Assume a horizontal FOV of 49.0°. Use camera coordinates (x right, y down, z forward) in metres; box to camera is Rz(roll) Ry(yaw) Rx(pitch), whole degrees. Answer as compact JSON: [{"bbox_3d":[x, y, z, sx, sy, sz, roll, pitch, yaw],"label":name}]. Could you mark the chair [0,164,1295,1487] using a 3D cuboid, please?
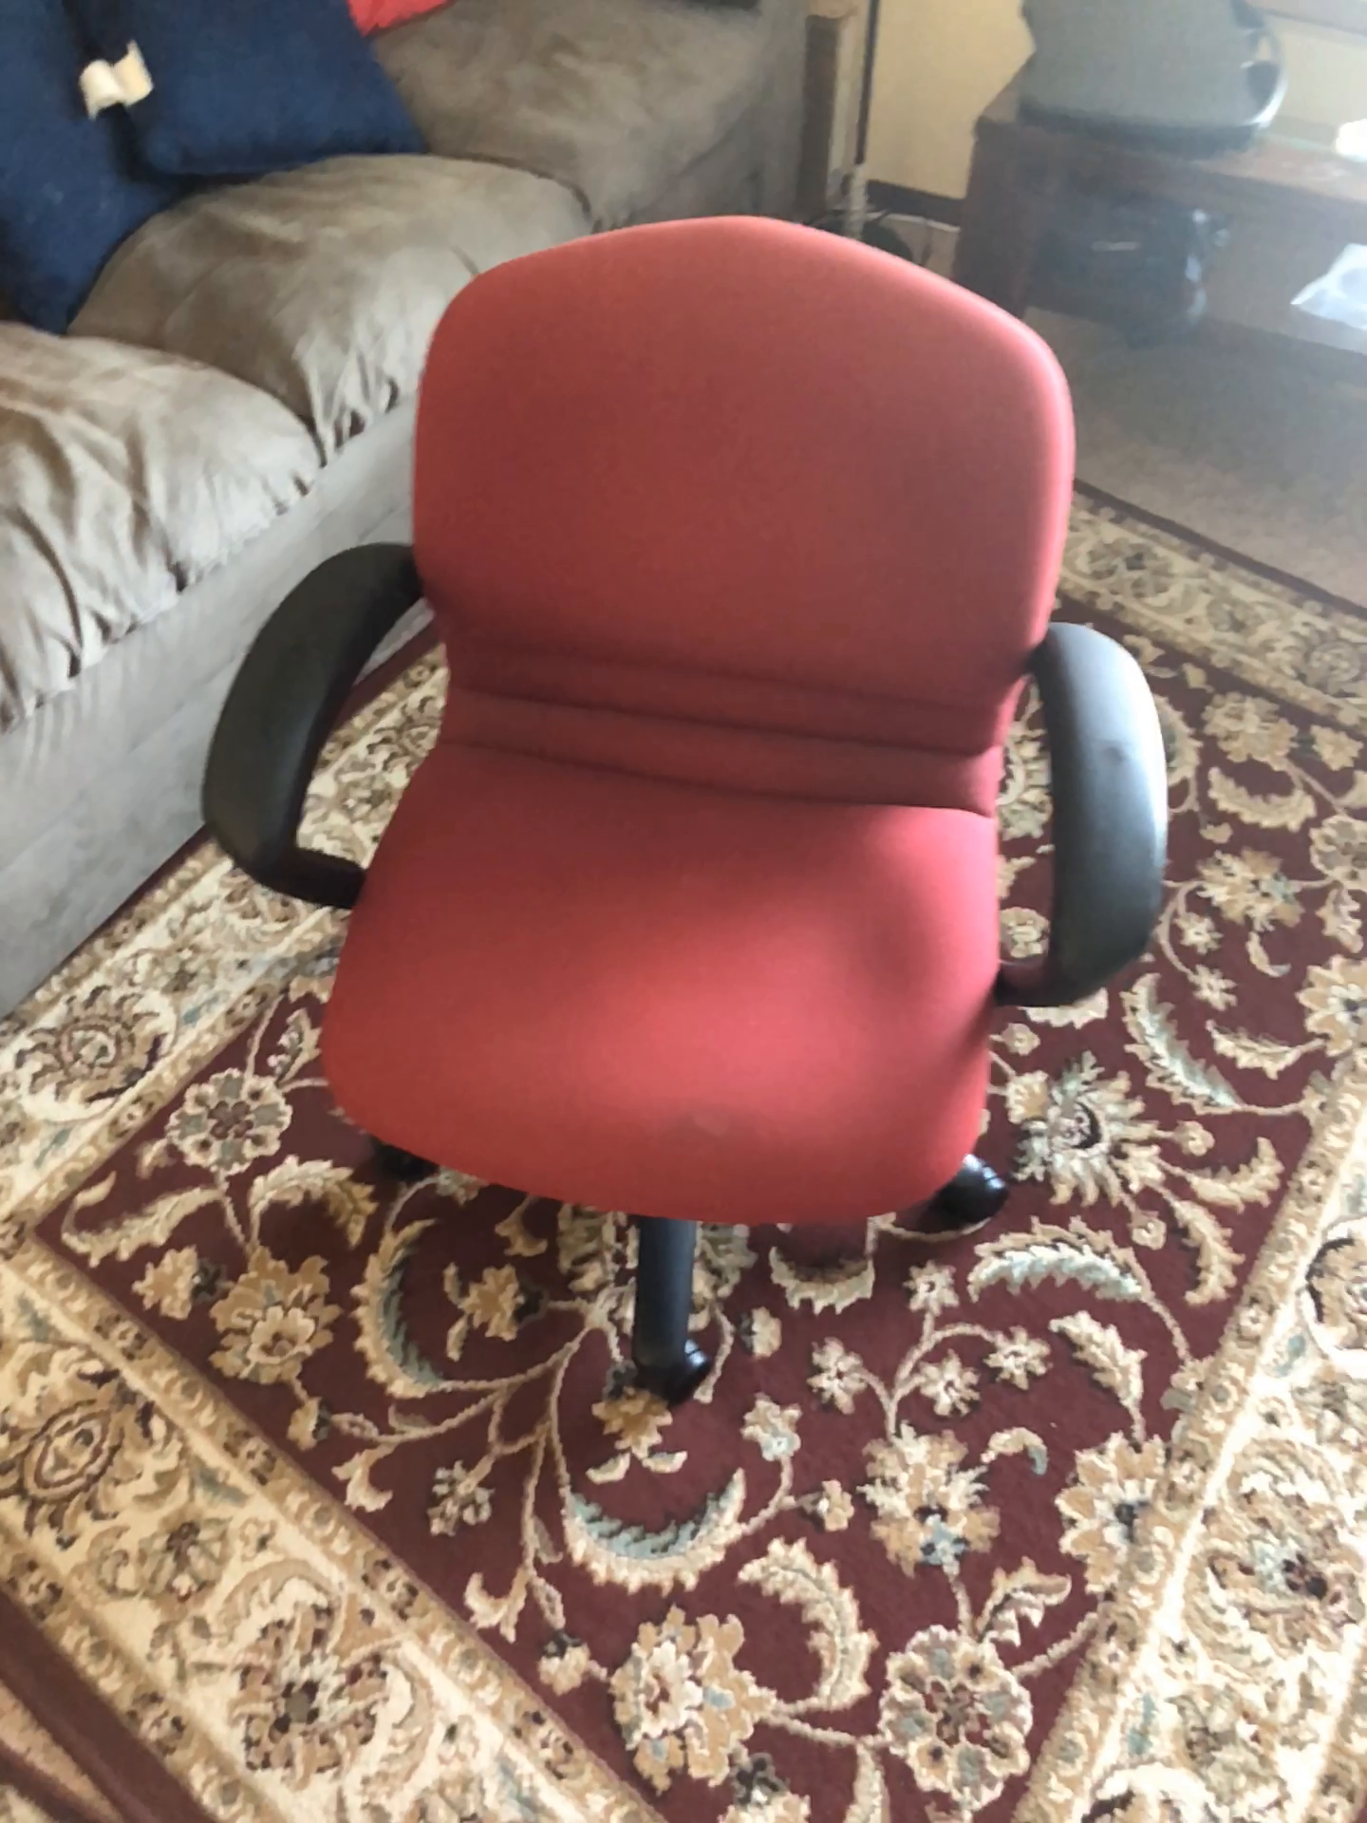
[{"bbox_3d":[0.012,-0.046,1.182,0.650,0.729,0.621,9,51,7],"label":"chair"}]
